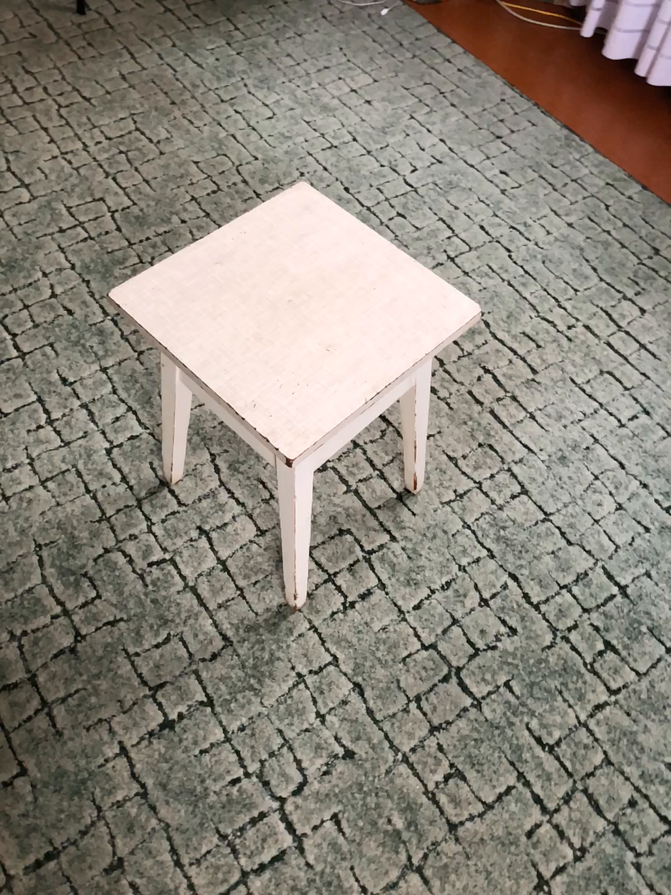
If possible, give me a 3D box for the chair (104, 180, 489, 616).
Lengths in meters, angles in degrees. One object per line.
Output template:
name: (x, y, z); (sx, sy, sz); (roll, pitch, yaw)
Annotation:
chair: (-0.058, -0.056, 1.091); (0.335, 0.447, 0.332); (-39, 67, -25)
